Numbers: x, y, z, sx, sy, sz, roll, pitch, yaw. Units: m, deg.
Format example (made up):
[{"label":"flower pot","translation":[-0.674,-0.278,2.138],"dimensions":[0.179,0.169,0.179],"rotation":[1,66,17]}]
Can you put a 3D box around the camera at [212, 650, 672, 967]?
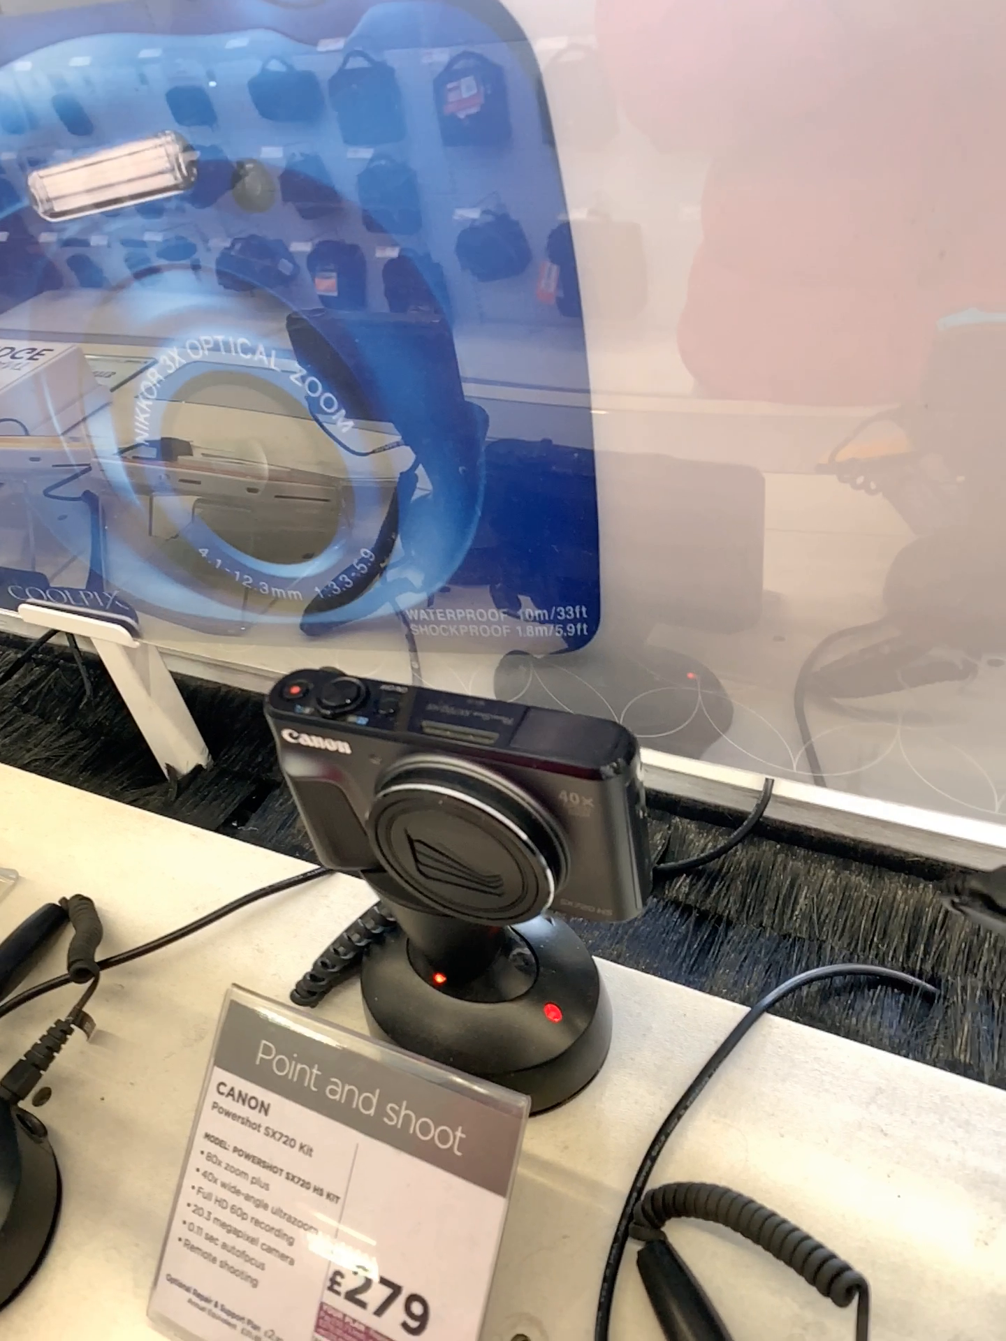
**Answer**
[{"label":"camera","translation":[-0.015,0.035,0.279],"dimensions":[0.113,0.061,0.031],"rotation":[9,44,24]}]
